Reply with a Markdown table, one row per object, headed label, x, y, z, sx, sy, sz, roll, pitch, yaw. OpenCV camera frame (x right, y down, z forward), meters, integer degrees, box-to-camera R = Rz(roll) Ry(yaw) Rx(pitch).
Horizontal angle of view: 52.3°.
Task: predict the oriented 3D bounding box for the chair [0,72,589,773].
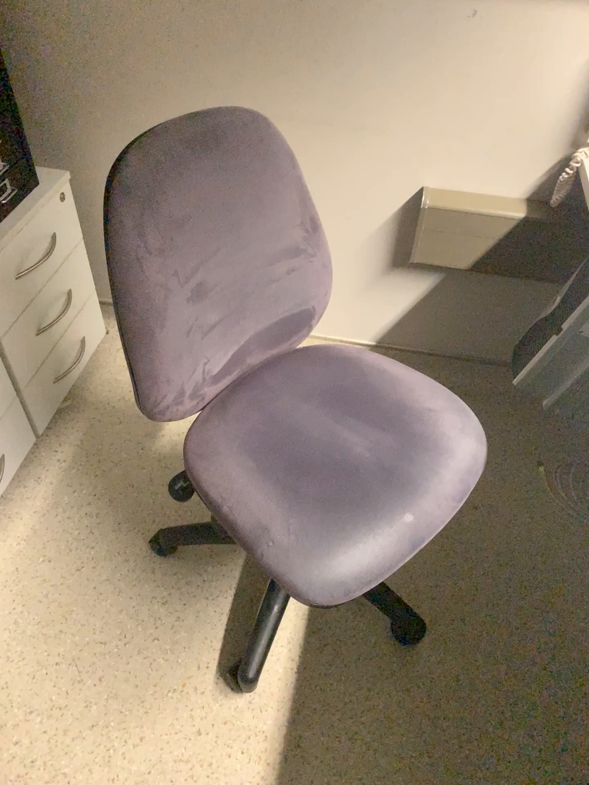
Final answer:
| label | x | y | z | sx | sy | sz | roll | pitch | yaw |
| --- | --- | --- | --- | --- | --- | --- | --- | --- | --- |
| chair | 0.030 | 0.059 | 1.128 | 0.683 | 0.902 | 0.673 | 37 | 56 | 27 |
